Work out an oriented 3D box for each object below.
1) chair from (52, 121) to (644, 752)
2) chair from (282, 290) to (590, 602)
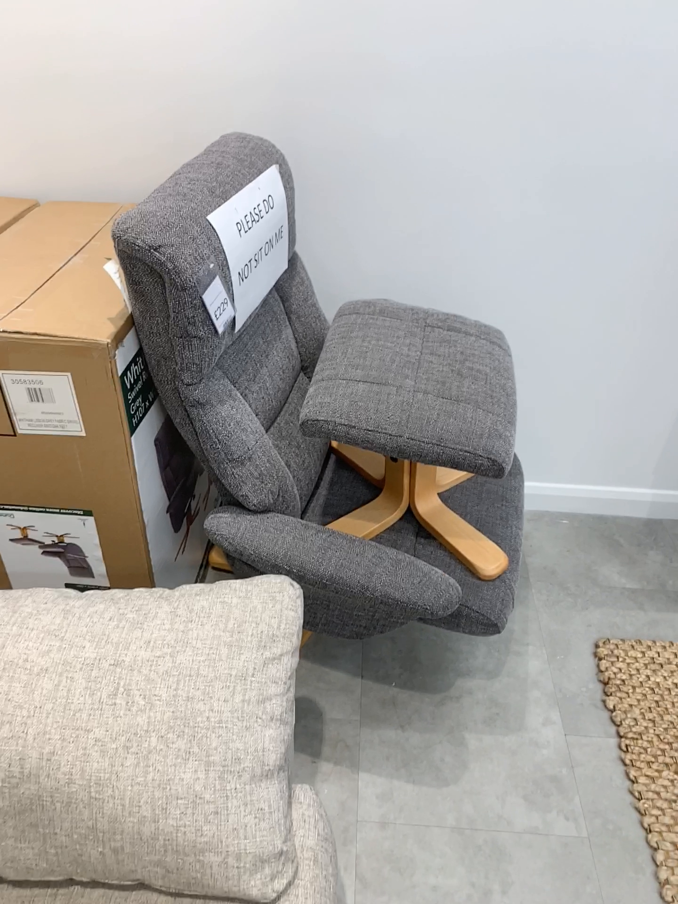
[{"bbox_3d":[0.031,-0.047,1.401,0.719,0.975,0.708,6,36,6],"label":"chair"},{"bbox_3d":[0.180,-0.039,1.377,0.479,0.351,0.486,7,36,7],"label":"chair"}]
